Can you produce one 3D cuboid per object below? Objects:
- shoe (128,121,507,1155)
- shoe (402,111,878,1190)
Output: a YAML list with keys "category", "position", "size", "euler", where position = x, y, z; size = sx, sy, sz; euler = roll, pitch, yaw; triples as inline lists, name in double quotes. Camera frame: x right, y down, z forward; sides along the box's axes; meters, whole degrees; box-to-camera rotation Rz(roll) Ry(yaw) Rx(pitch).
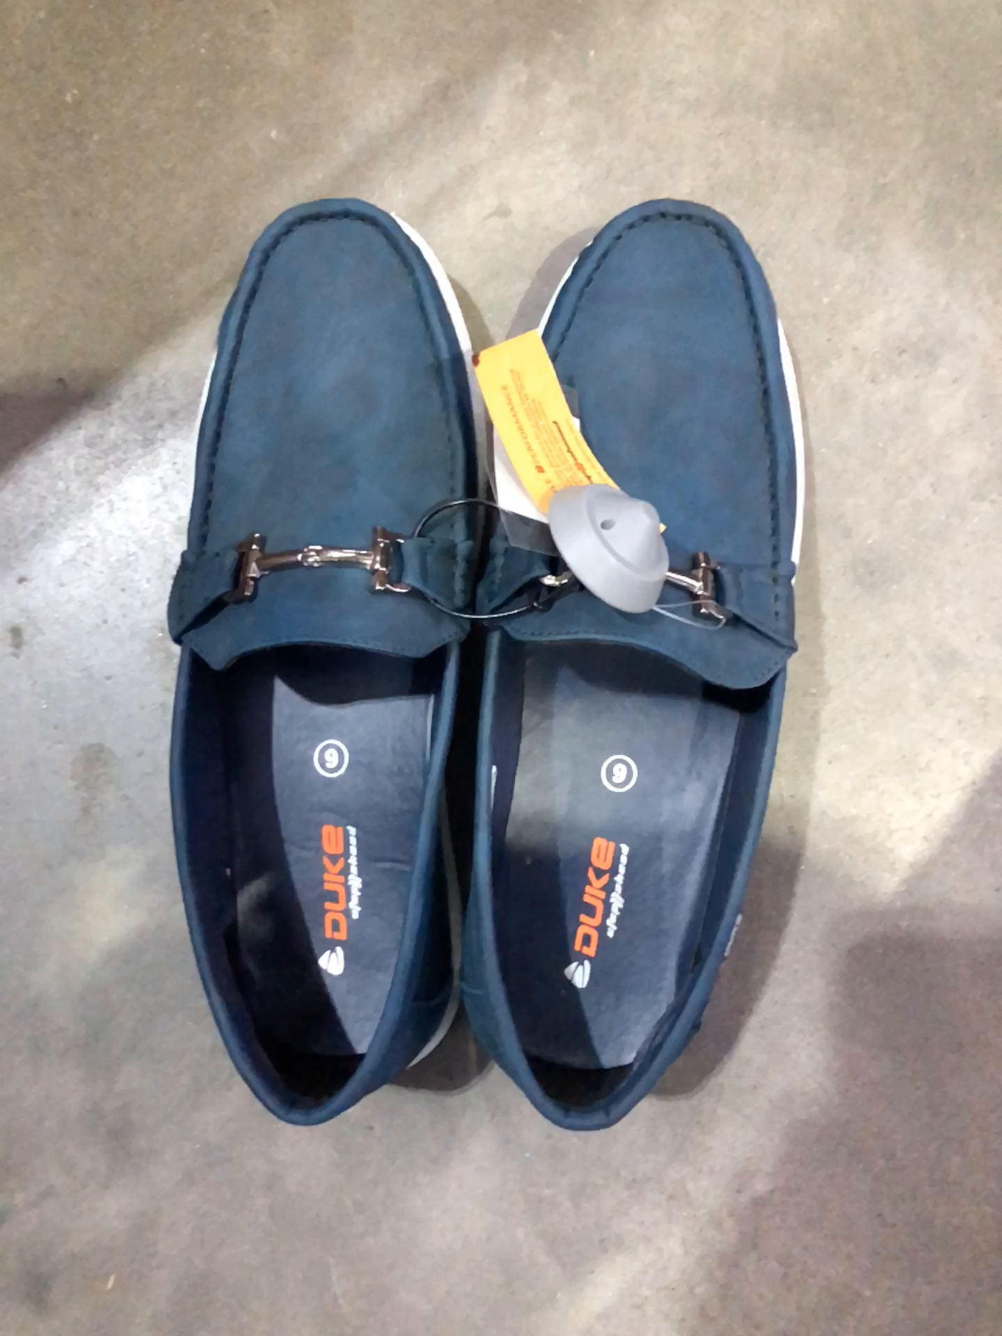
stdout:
- category: "shoe"
  position: [-0.055, -0.010, 0.374]
  size: [0.110, 0.080, 0.310]
  euler: [0, 88, 3]
- category: "shoe"
  position: [0.043, -0.007, 0.368]
  size: [0.110, 0.080, 0.310]
  euler: [6, 89, 3]
